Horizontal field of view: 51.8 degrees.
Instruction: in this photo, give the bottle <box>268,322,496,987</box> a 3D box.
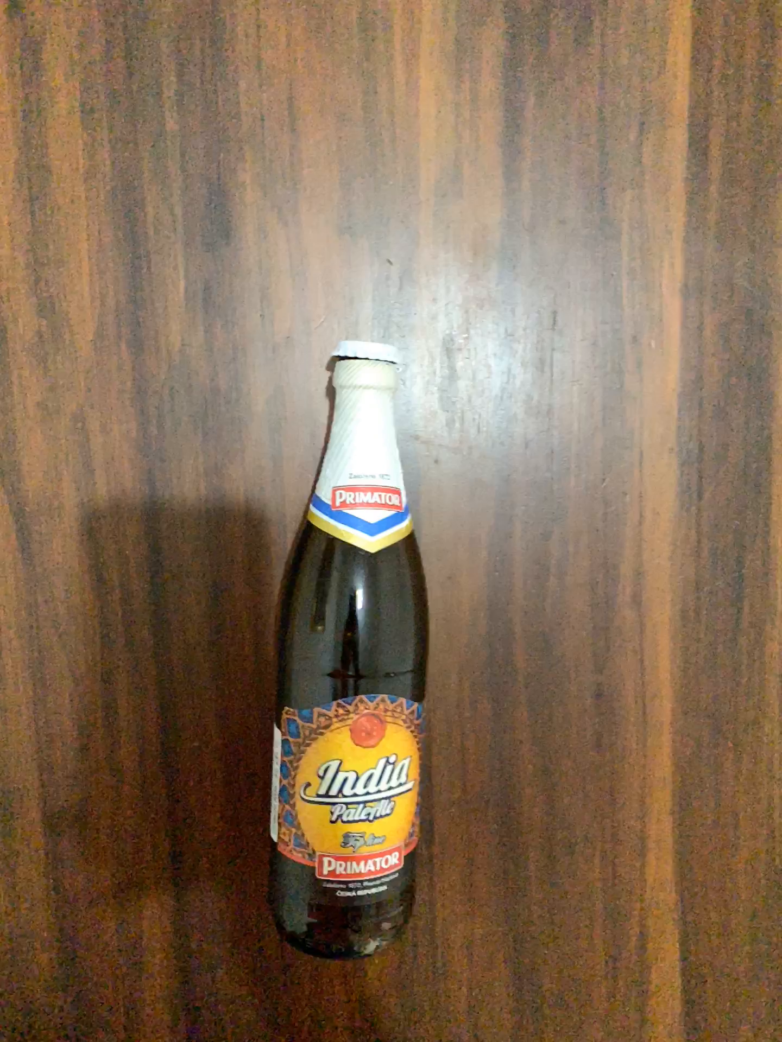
[{"bbox_3d":[-0.008,0.054,0.346,0.080,0.060,0.260,0,96,-13],"label":"bottle"}]
